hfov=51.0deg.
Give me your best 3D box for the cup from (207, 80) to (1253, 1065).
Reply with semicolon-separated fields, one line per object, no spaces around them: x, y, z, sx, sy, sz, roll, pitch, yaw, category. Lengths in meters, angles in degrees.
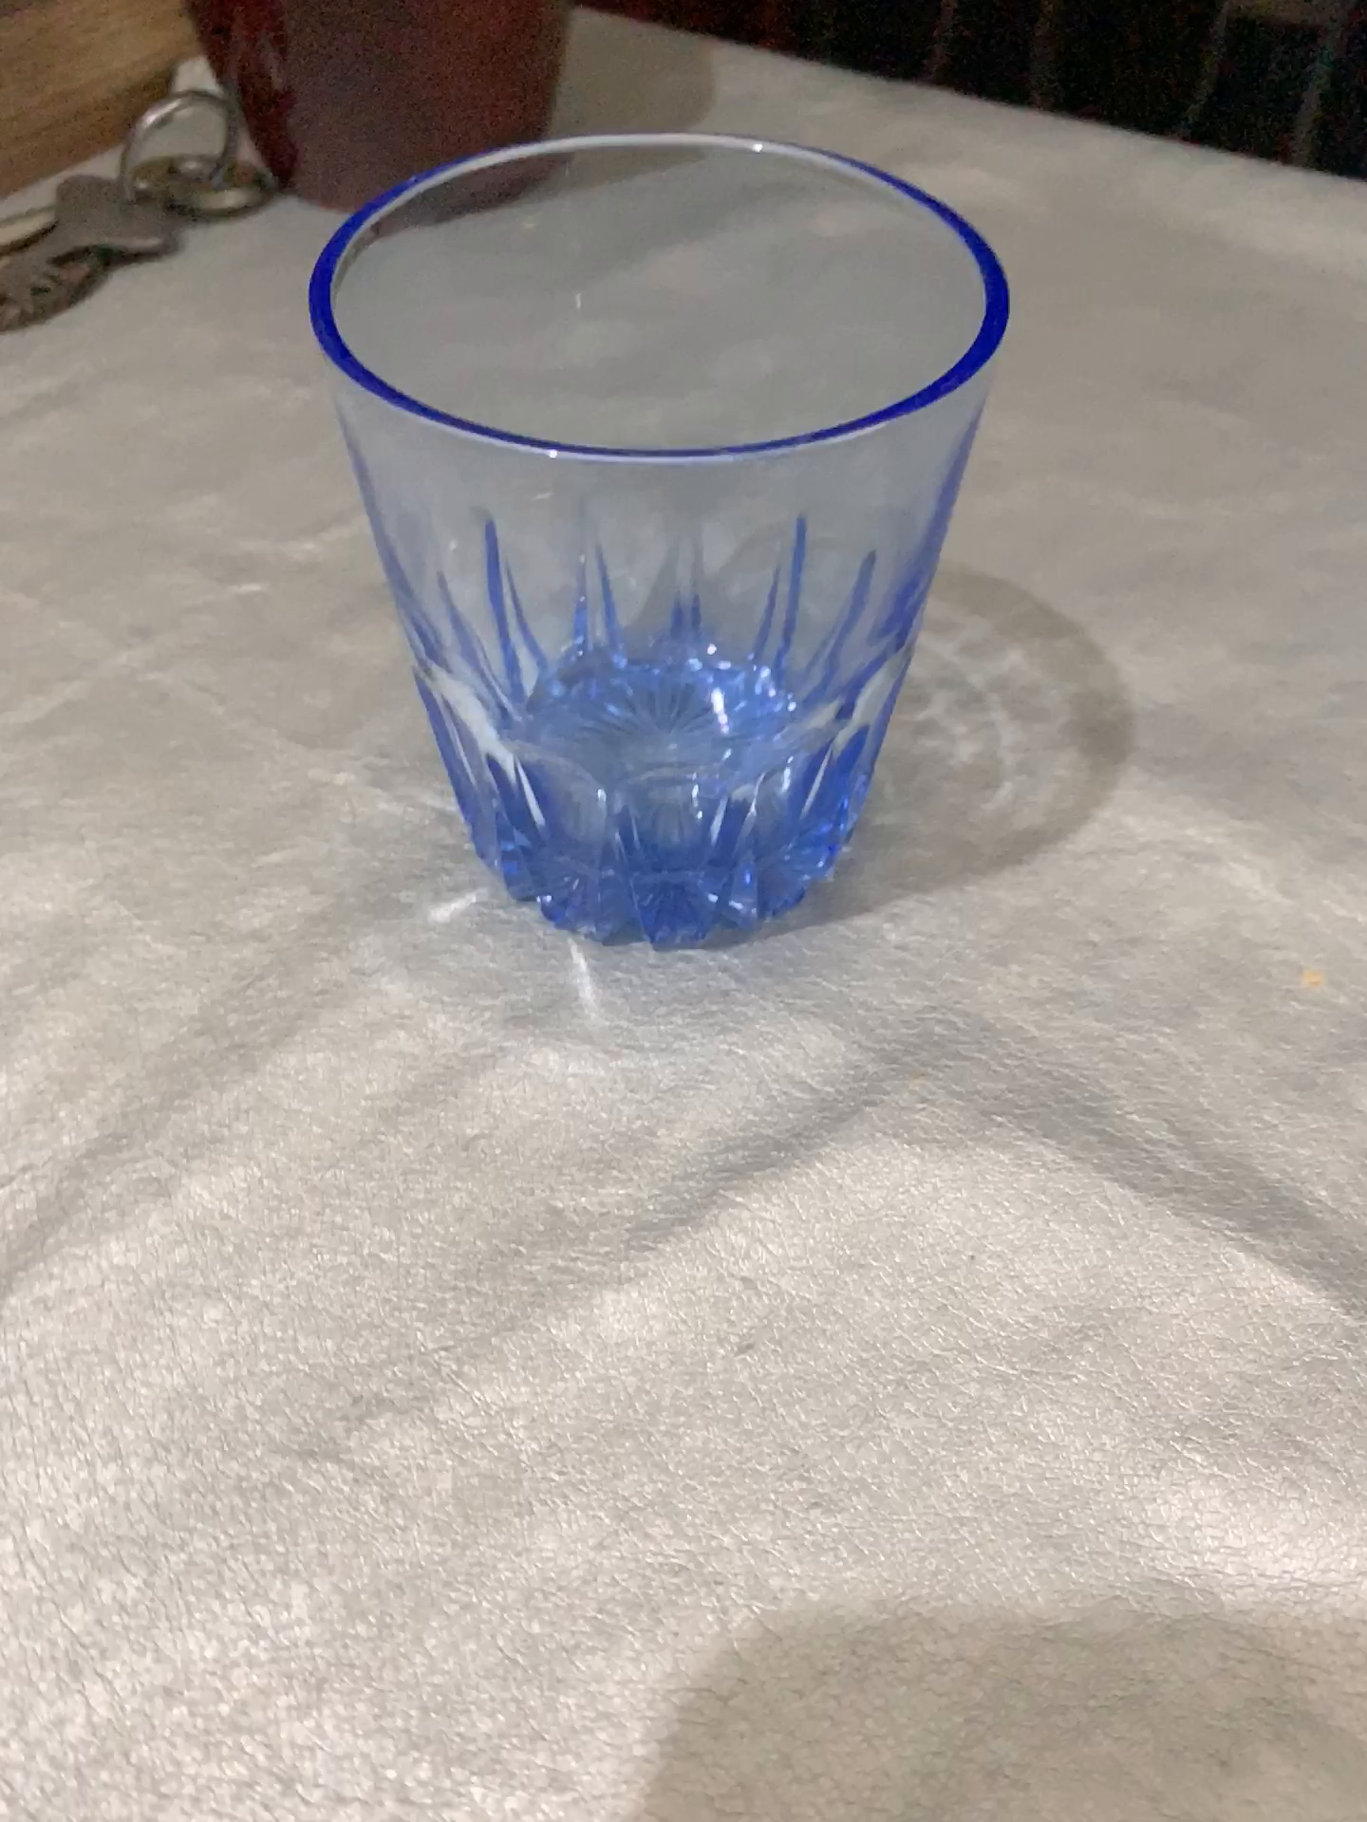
-0.003;-0.046;0.181;0.090;0.070;0.090;1;50;-1;cup
